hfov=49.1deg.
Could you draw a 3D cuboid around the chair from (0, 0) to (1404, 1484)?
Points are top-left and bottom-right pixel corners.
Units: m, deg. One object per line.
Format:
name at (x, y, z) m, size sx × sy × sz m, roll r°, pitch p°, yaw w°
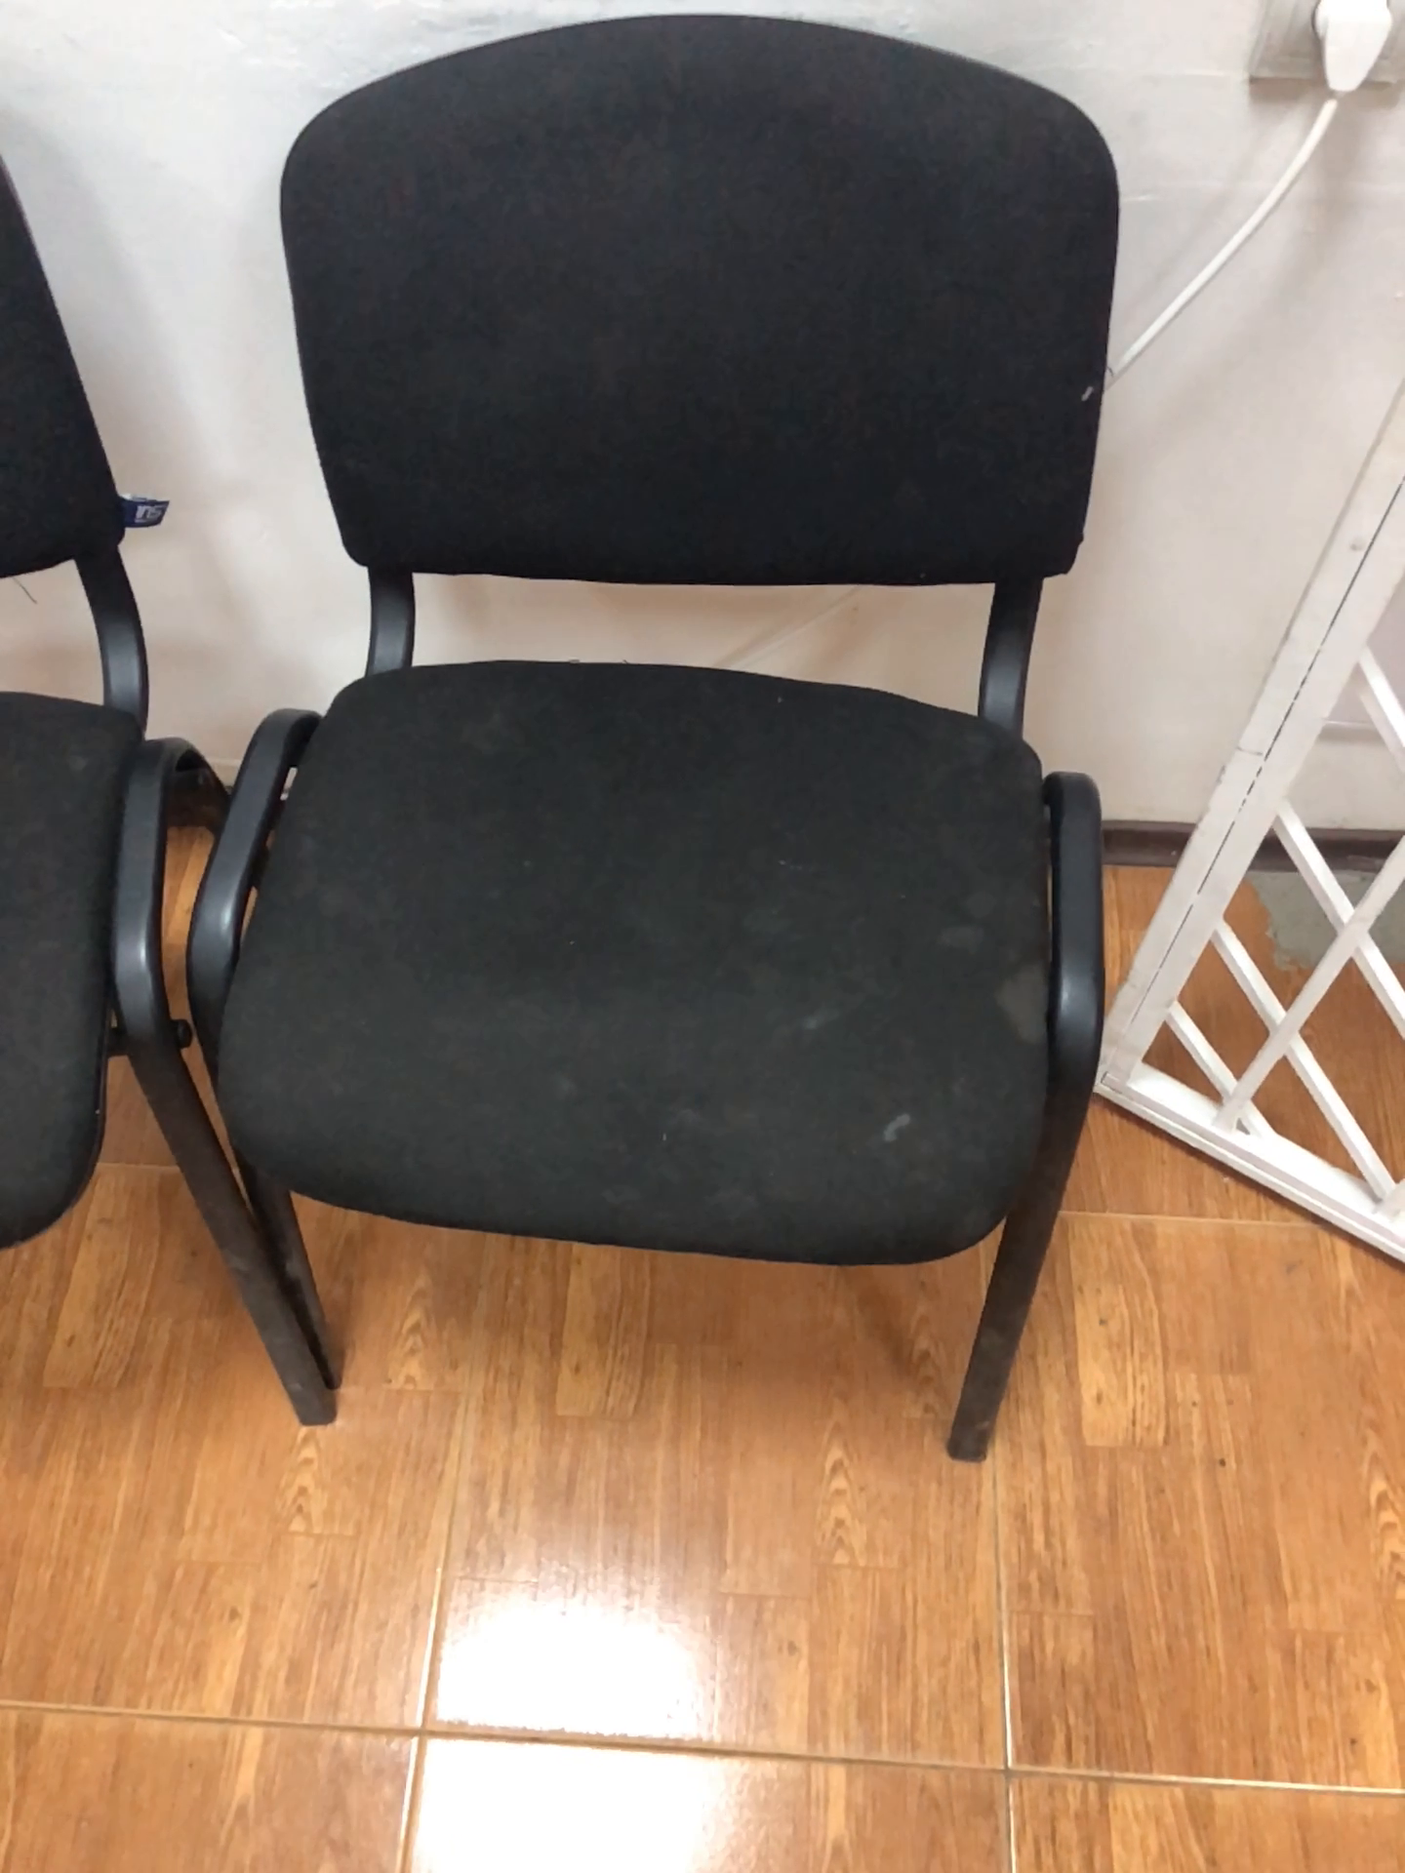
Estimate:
chair at (0.000, -0.079, 0.981) m, size 0.570 × 0.688 × 0.621 m, roll 5°, pitch 58°, yaw 4°
